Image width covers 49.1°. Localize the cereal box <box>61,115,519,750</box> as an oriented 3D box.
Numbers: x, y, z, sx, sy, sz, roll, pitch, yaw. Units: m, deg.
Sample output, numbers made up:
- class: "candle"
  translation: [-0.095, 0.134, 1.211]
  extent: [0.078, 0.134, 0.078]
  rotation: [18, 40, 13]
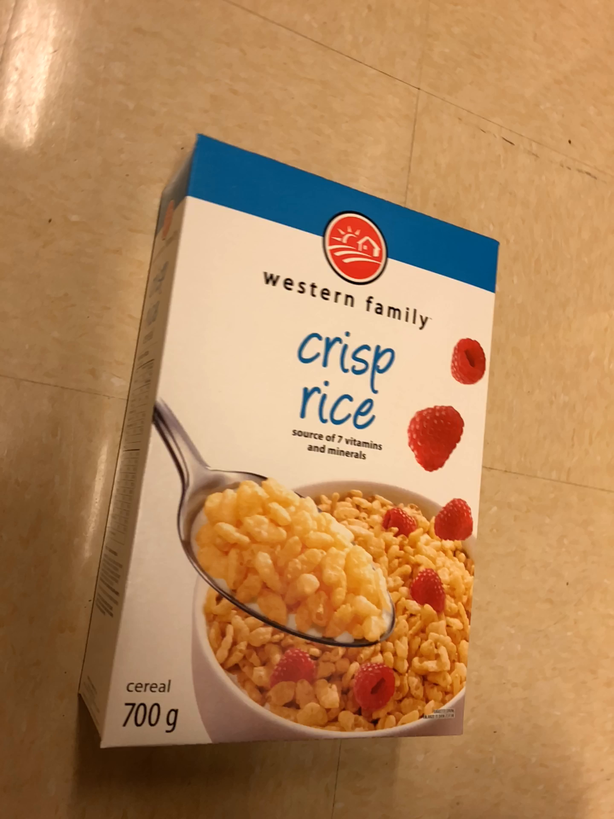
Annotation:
- class: "cereal box"
  translation: [0.002, 0.024, 0.416]
  extent: [0.230, 0.080, 0.320]
  rotation: [12, 80, -24]
